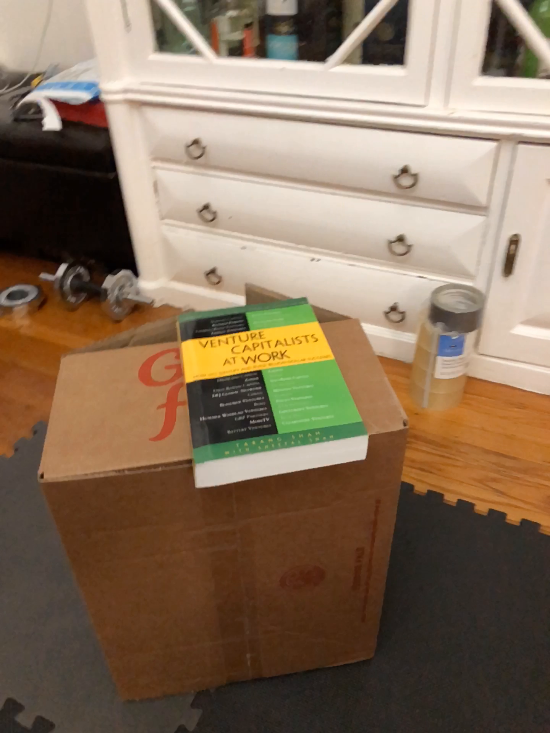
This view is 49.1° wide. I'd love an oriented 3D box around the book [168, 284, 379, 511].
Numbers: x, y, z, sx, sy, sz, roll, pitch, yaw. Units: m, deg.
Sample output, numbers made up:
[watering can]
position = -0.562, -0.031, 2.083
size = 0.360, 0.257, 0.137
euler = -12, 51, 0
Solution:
[book]
position = -0.016, 0.012, 0.596
size = 0.160, 0.040, 0.262
euler = -9, 39, -7
